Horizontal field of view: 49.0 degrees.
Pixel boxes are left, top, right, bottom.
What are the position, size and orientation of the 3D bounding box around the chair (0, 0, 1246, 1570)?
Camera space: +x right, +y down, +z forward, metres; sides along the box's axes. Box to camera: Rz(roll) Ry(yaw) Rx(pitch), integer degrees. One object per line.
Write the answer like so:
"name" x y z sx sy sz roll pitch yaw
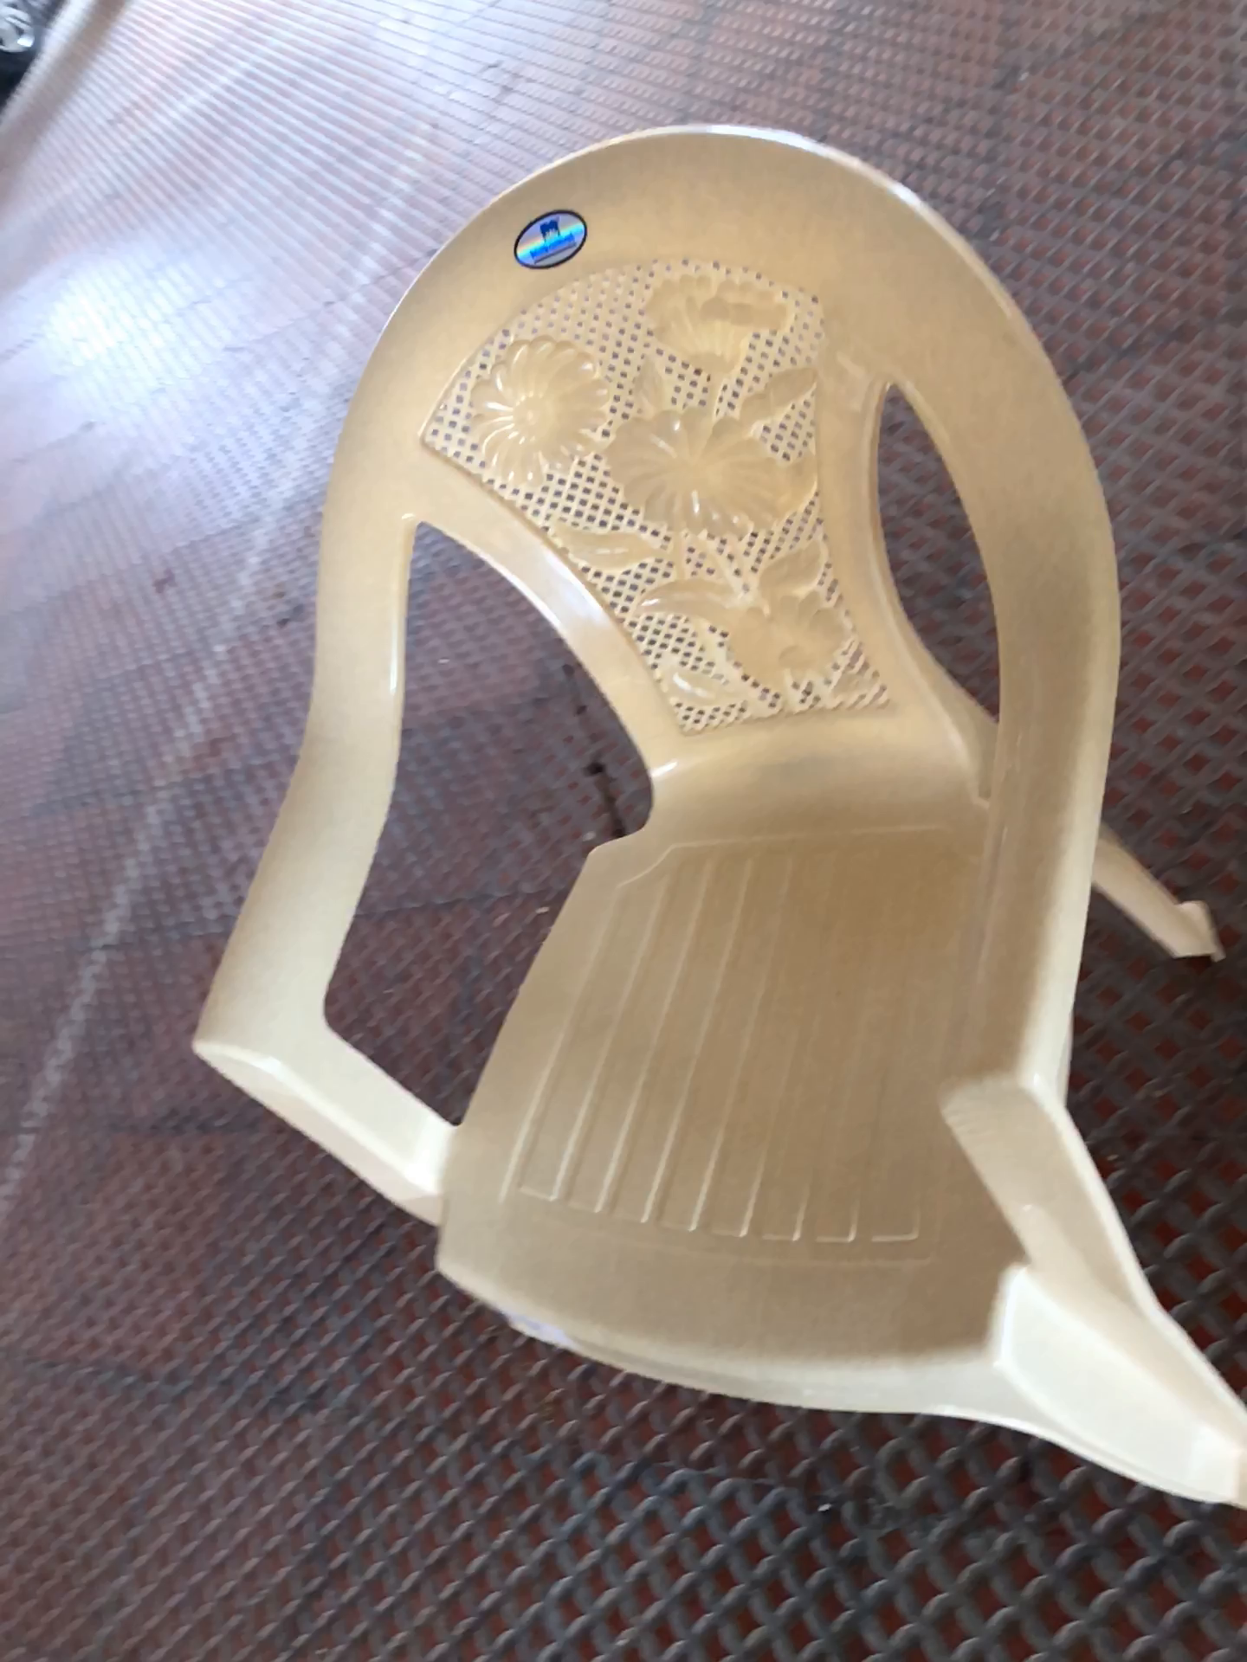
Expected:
"chair" 0.080 0.060 0.946 0.530 0.807 0.612 -5 59 38
